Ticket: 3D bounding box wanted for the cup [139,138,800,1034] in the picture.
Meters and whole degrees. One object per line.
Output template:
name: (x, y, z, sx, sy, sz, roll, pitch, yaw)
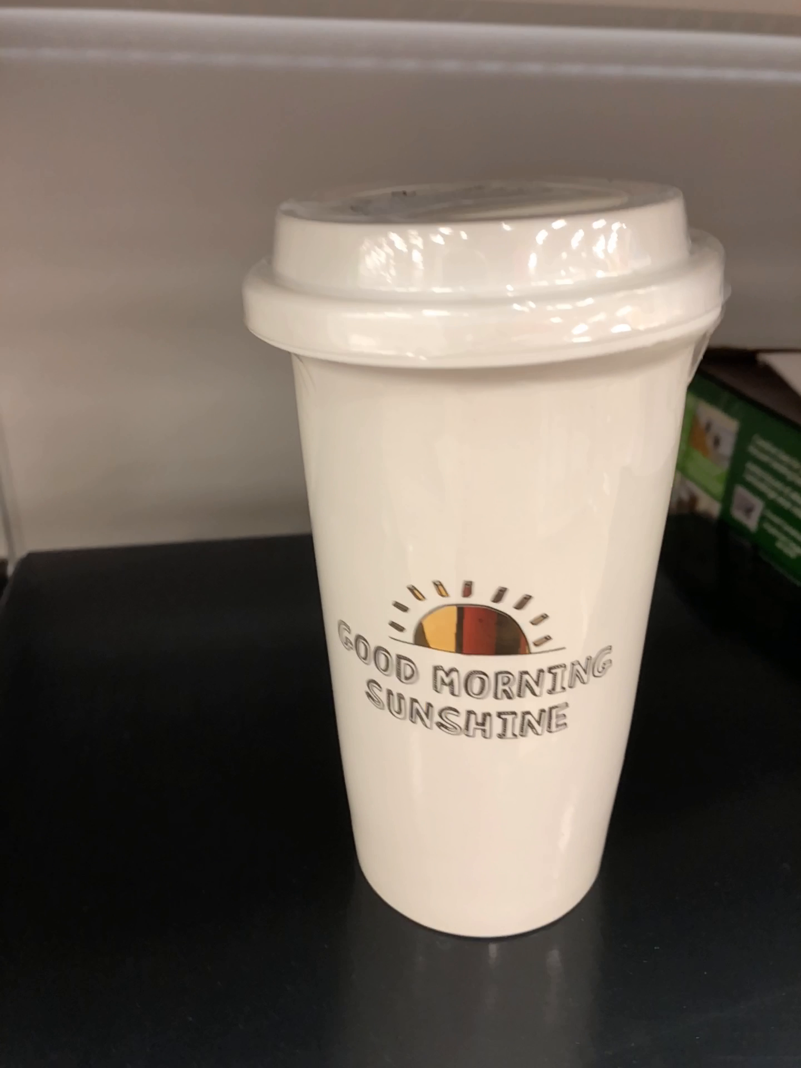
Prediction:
cup: (0.023, -0.002, 0.202, 0.100, 0.149, 0.100, 1, 27, -1)
